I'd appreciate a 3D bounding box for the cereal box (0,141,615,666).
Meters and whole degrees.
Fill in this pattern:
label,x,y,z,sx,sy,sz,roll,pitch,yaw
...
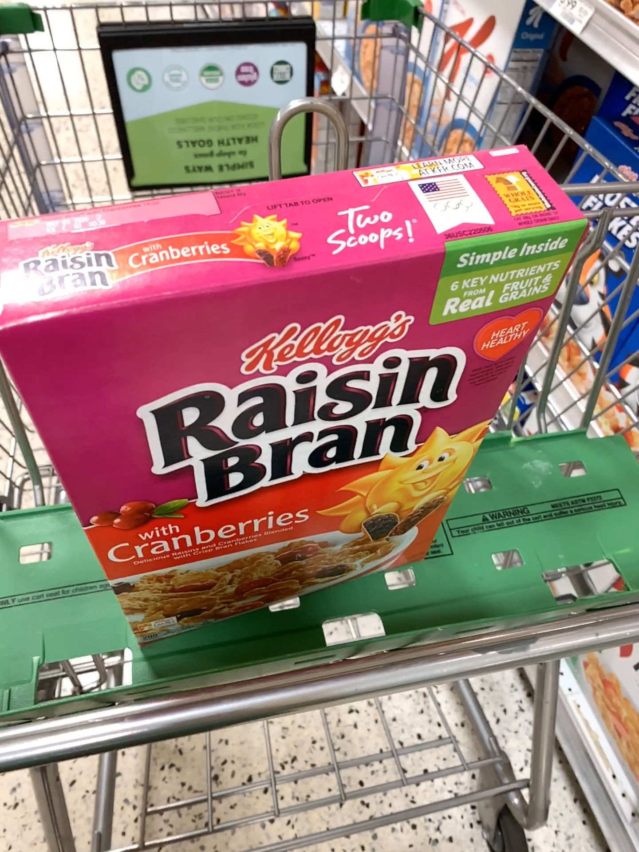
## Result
label,x,y,z,sx,sy,sz,roll,pitch,yaw
cereal box,-0.018,0.026,0.351,0.210,0.327,0.050,-13,58,-14
